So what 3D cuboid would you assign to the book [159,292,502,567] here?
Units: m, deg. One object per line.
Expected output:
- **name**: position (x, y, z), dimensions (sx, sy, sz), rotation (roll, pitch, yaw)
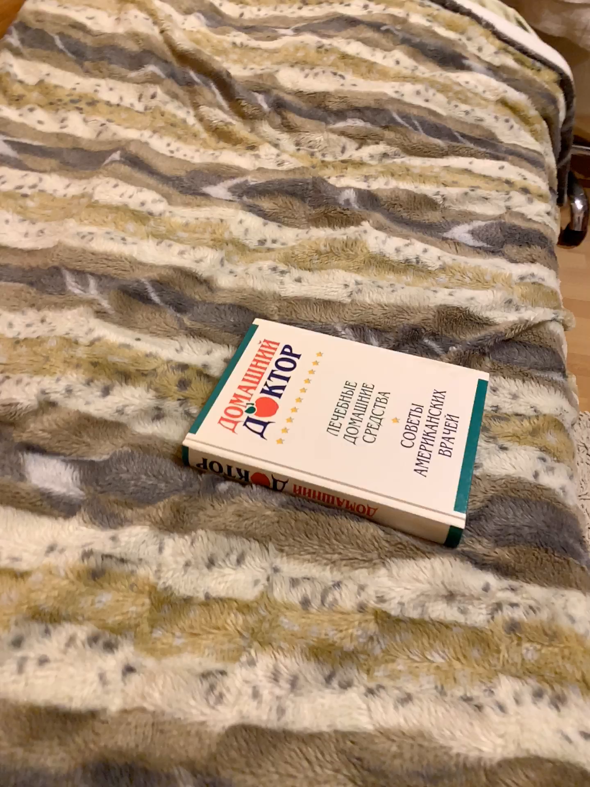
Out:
- **book**: position (0.040, 0.015, 0.511), dimensions (0.240, 0.040, 0.191), rotation (16, 50, 10)
